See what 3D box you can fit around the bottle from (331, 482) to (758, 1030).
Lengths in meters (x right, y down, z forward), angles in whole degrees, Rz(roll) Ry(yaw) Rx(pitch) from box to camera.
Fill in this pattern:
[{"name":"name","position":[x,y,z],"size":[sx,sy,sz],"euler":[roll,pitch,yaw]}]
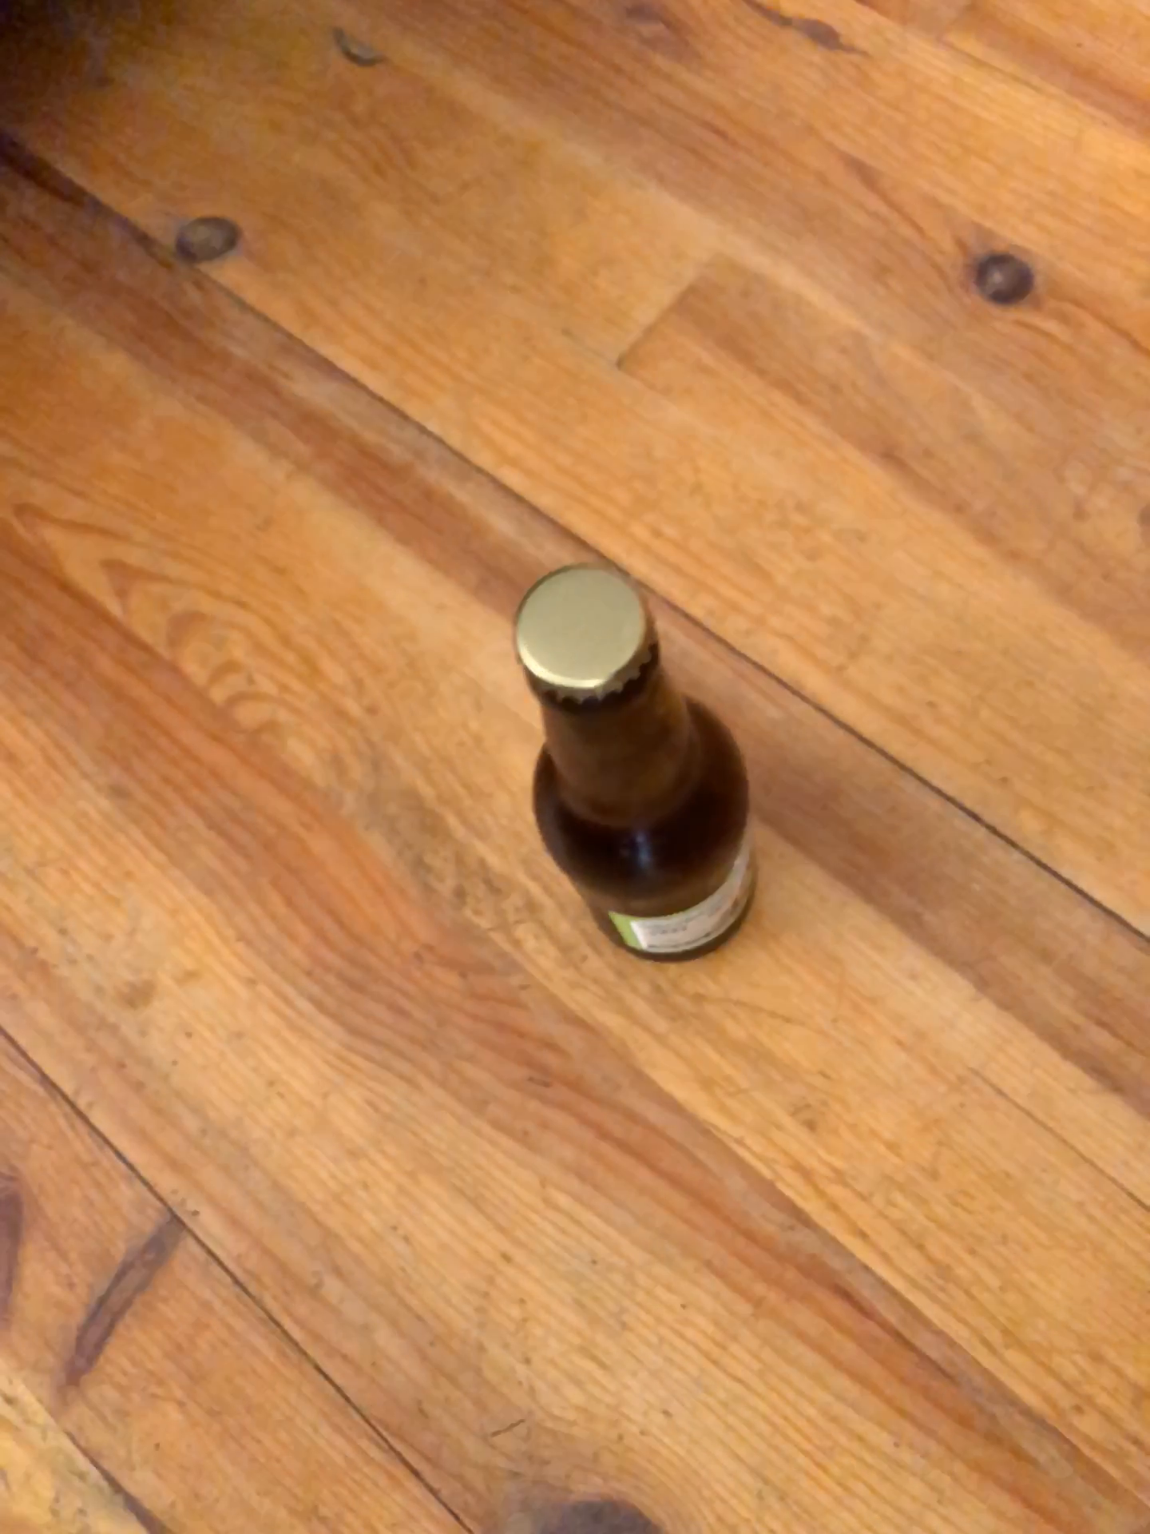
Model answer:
[{"name":"bottle","position":[0.010,0.016,0.346],"size":[0.070,0.230,0.070],"euler":[-3,71,7]}]
